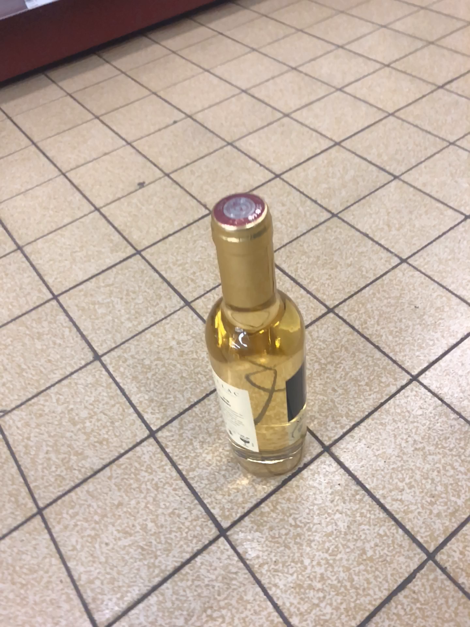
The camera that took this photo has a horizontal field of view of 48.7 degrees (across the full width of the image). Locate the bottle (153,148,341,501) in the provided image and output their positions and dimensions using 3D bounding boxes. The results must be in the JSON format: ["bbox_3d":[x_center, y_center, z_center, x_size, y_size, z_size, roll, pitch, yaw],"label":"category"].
[{"bbox_3d":[0.013,0.029,0.324,0.070,0.239,0.070,-3,49,4],"label":"bottle"}]
